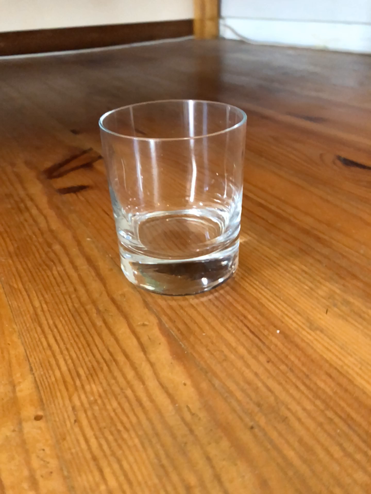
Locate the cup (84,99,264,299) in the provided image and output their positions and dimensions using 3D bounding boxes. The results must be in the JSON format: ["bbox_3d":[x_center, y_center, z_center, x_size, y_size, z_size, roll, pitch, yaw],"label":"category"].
[{"bbox_3d":[-0.001,-0.033,0.249,0.082,0.090,0.087,-2,31,1],"label":"cup"}]
